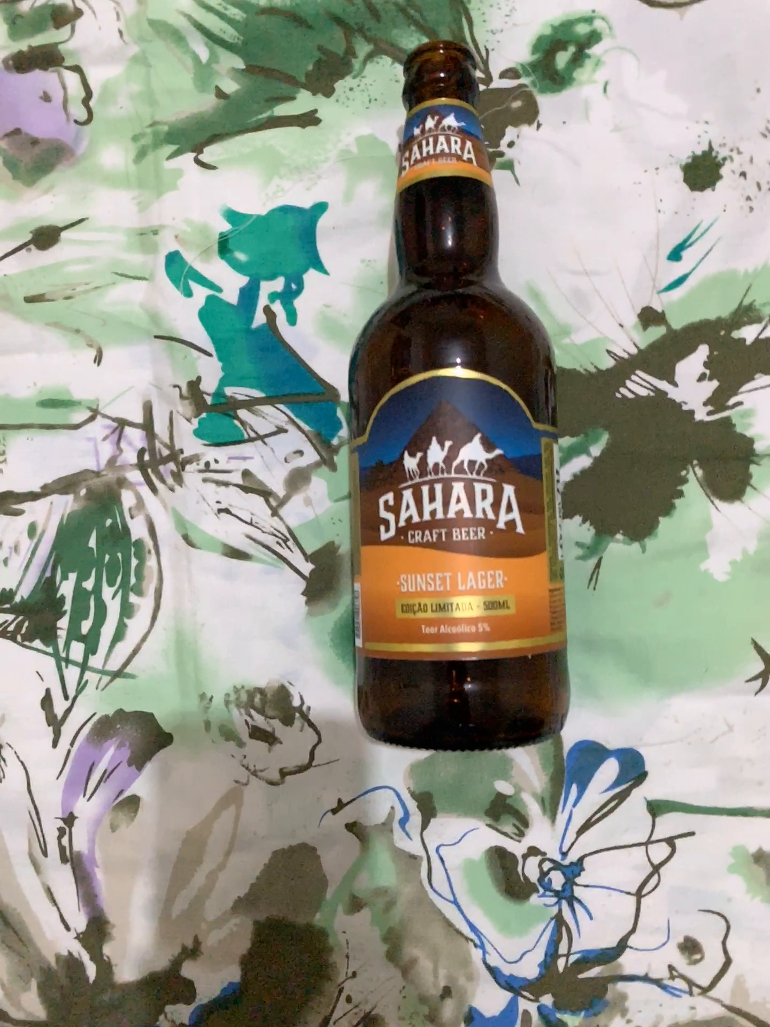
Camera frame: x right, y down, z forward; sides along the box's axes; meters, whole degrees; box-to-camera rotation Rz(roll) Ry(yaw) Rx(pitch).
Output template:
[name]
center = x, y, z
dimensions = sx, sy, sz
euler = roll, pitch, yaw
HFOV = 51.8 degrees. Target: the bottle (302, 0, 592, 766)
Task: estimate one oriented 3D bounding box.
[bottle]
center = 0.021, -0.047, 0.282
dimensions = 0.080, 0.070, 0.250
euler = -2, 87, 5
